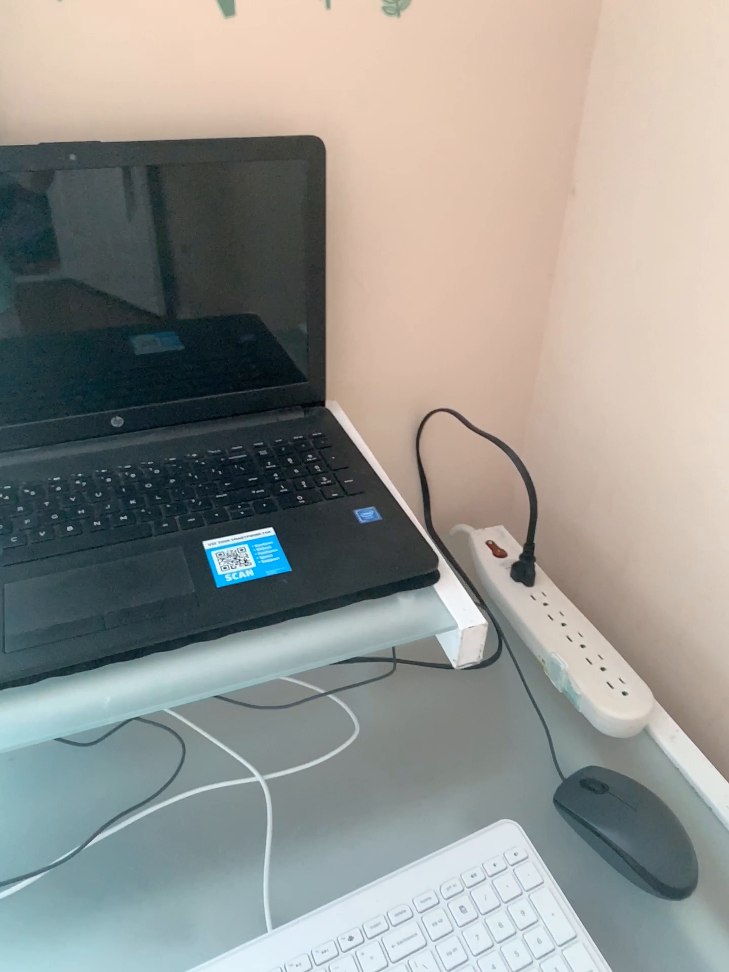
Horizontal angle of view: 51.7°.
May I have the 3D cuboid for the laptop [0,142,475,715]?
[{"bbox_3d":[-0.161,-0.071,0.484,0.358,0.225,0.246,-11,36,-20],"label":"laptop"}]
